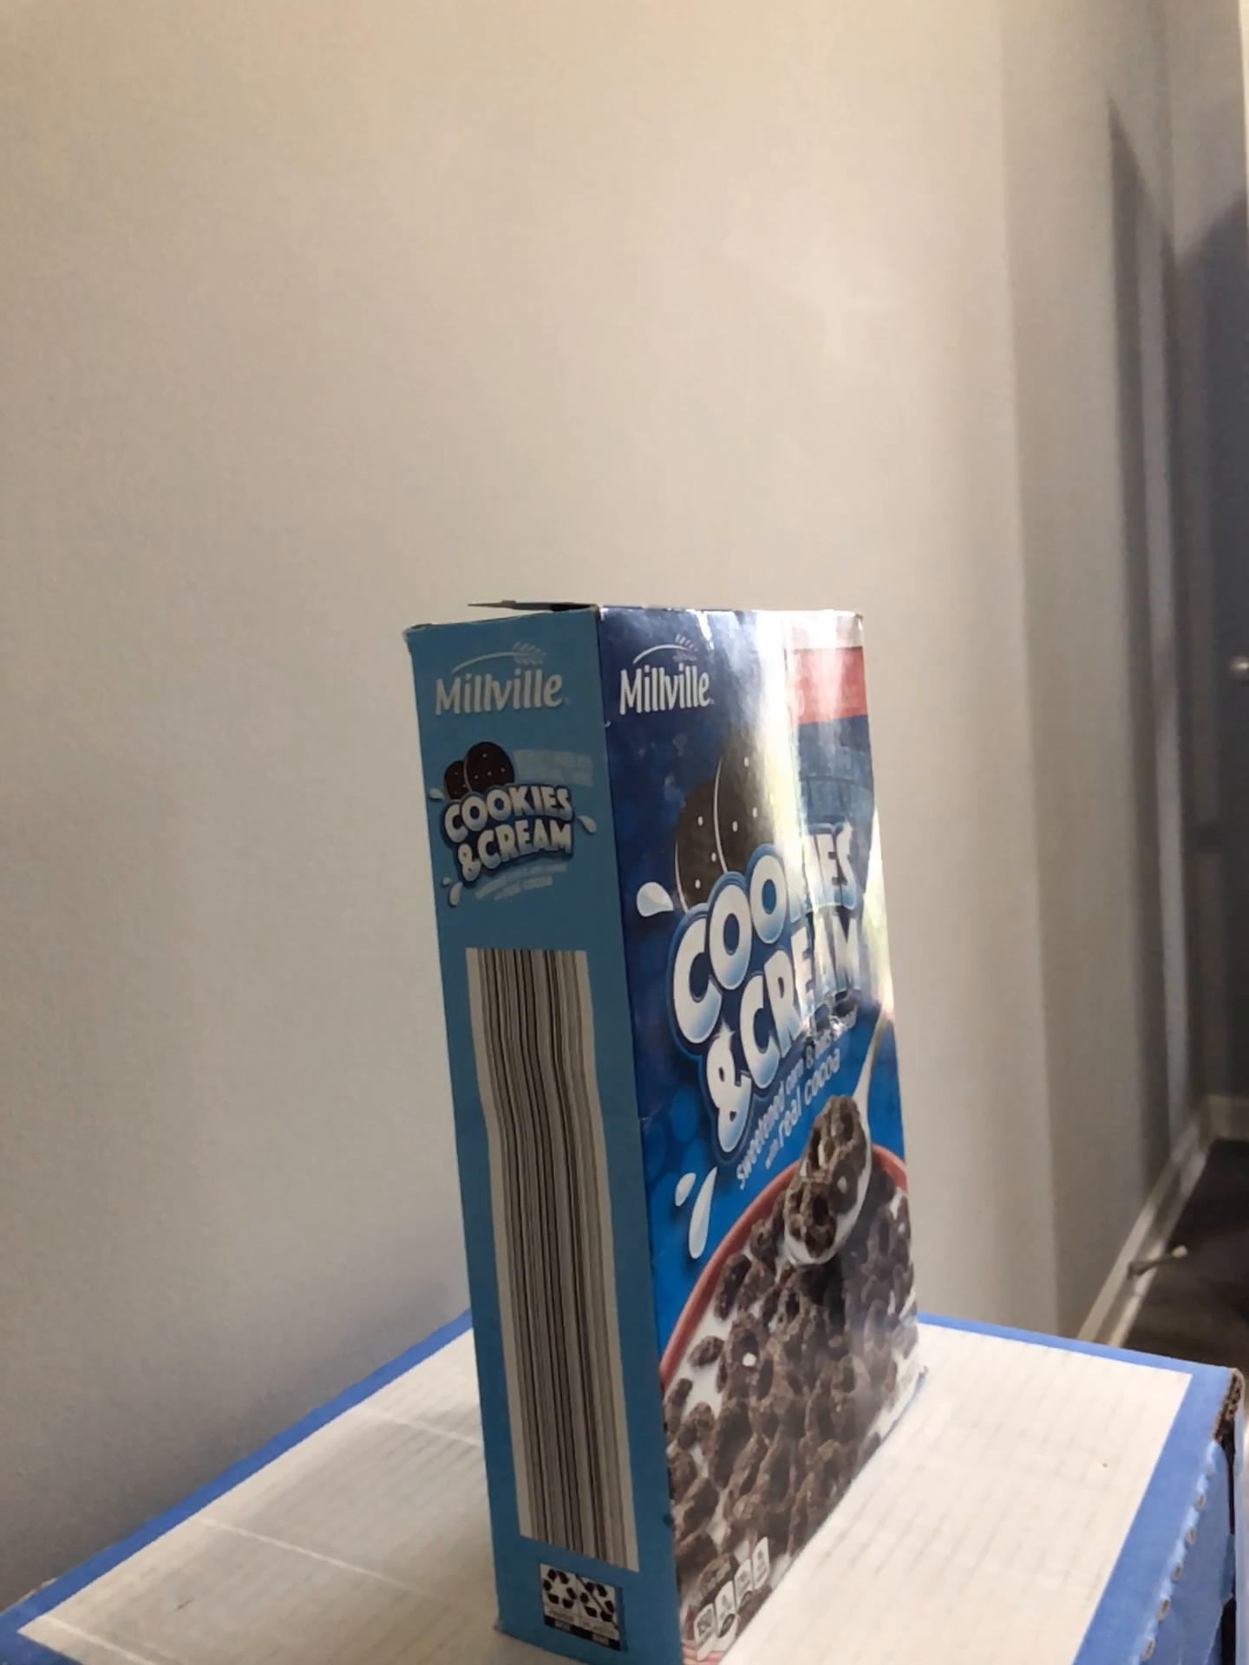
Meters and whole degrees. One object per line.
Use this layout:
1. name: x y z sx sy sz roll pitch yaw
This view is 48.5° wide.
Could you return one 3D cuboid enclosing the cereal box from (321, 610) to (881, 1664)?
1. cereal box: 0.008 0.086 0.469 0.070 0.310 0.200 -3 5 30
